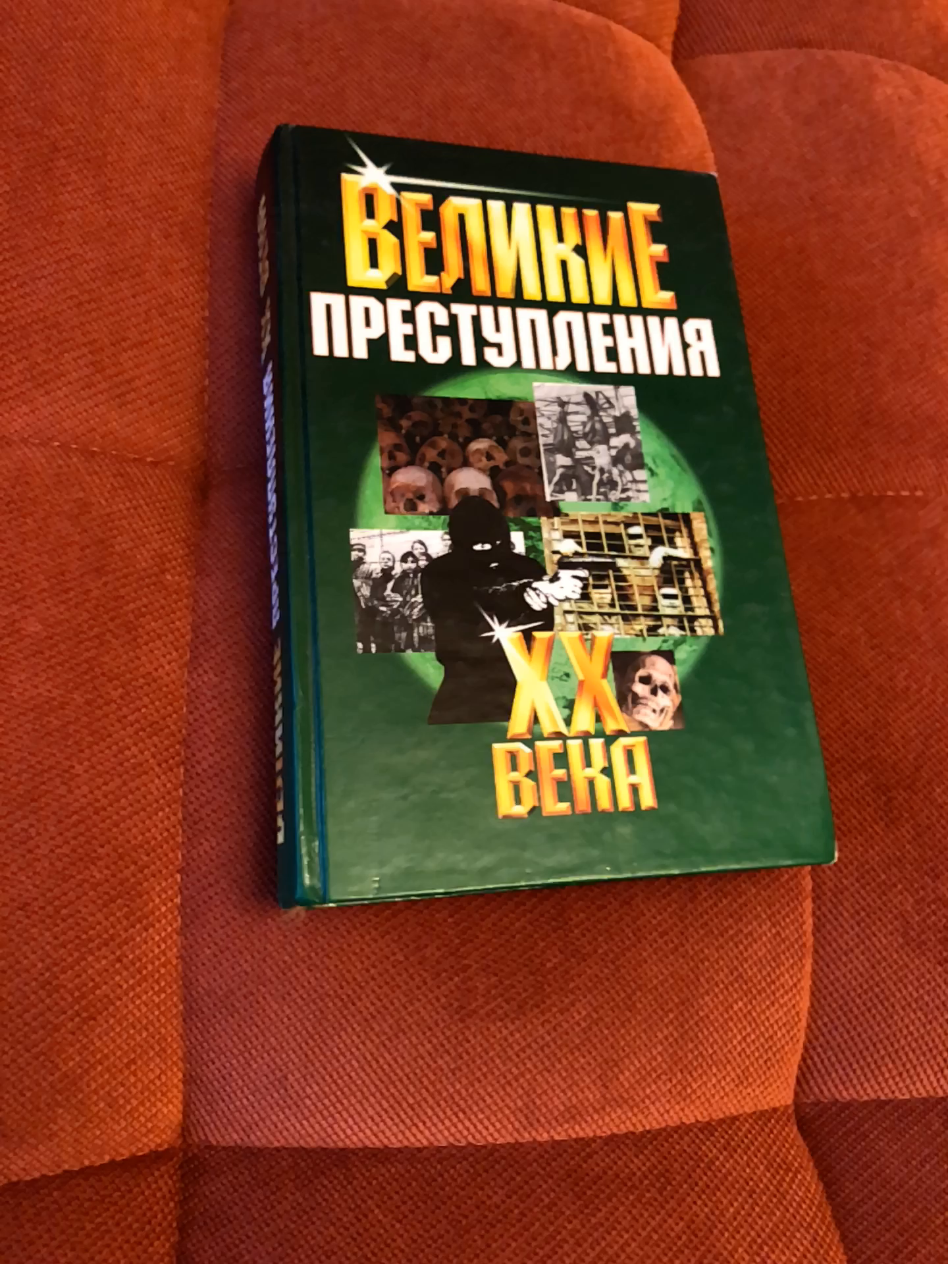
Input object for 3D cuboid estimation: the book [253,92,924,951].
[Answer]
[{"bbox_3d":[0.022,-0.037,0.298,0.160,0.040,0.230,0,72,-14],"label":"book"}]
